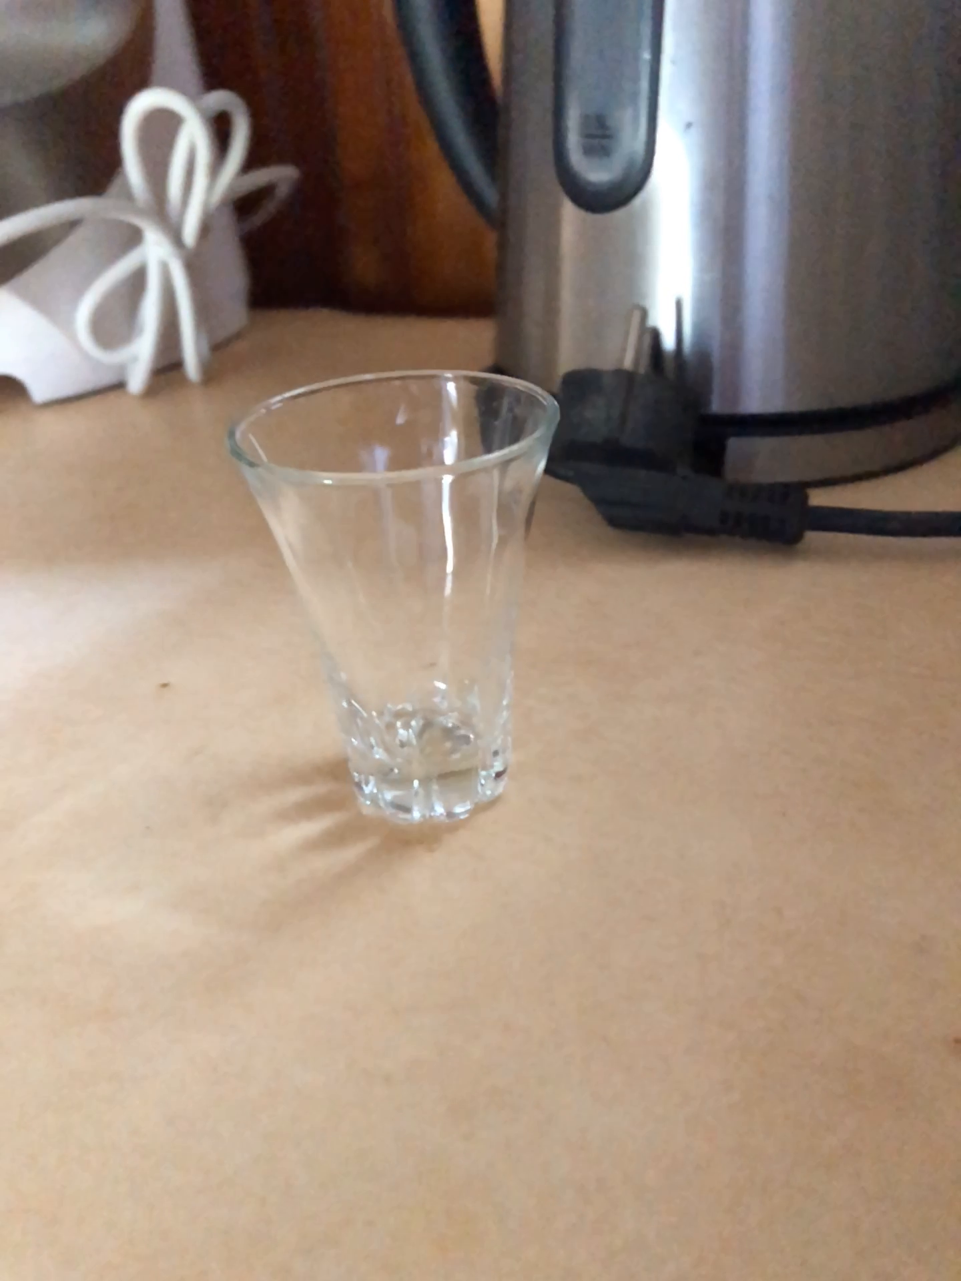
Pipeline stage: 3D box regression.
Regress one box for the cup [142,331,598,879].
[{"bbox_3d":[-0.015,-0.009,0.186,0.050,0.070,0.050,-3,30,2],"label":"cup"}]
